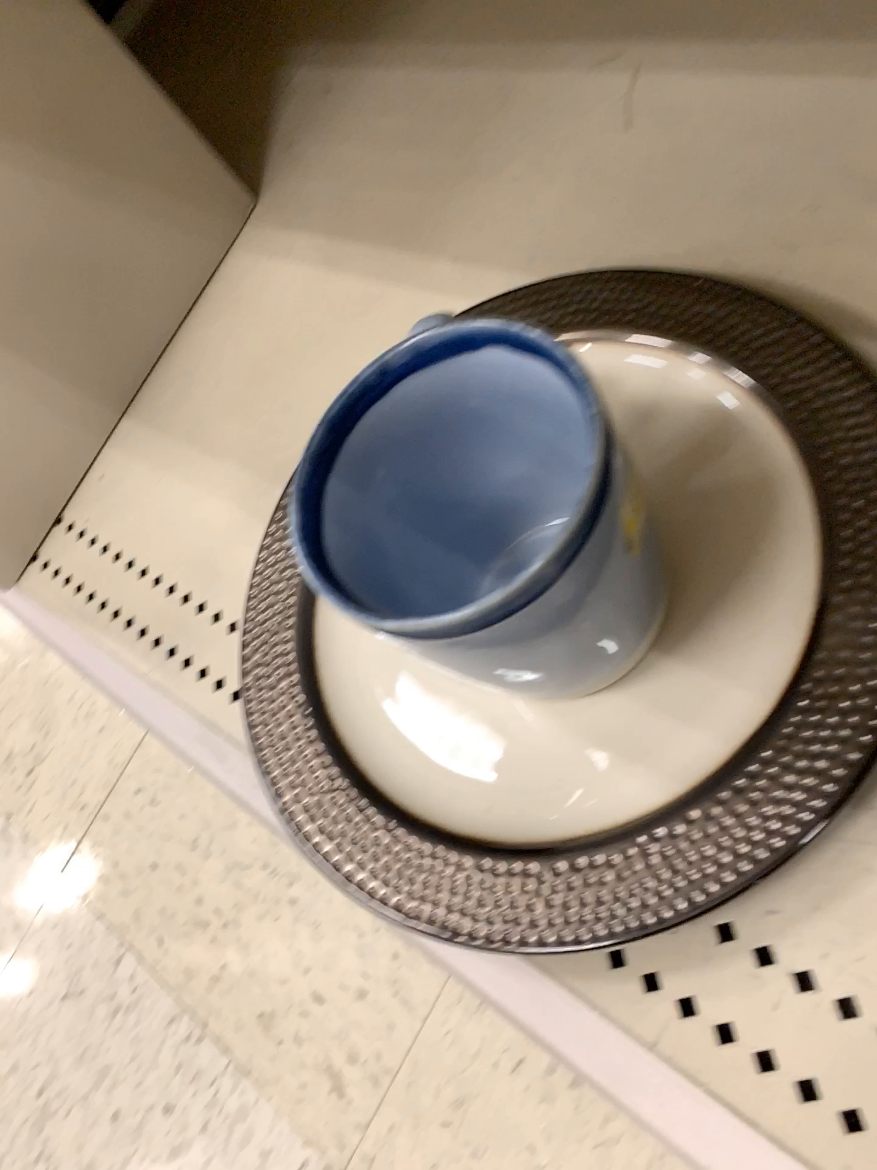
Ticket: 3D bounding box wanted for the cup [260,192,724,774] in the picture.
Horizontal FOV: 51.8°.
[{"bbox_3d":[0.014,-0.024,0.283,0.093,0.094,0.128,-22,58,22],"label":"cup"}]
